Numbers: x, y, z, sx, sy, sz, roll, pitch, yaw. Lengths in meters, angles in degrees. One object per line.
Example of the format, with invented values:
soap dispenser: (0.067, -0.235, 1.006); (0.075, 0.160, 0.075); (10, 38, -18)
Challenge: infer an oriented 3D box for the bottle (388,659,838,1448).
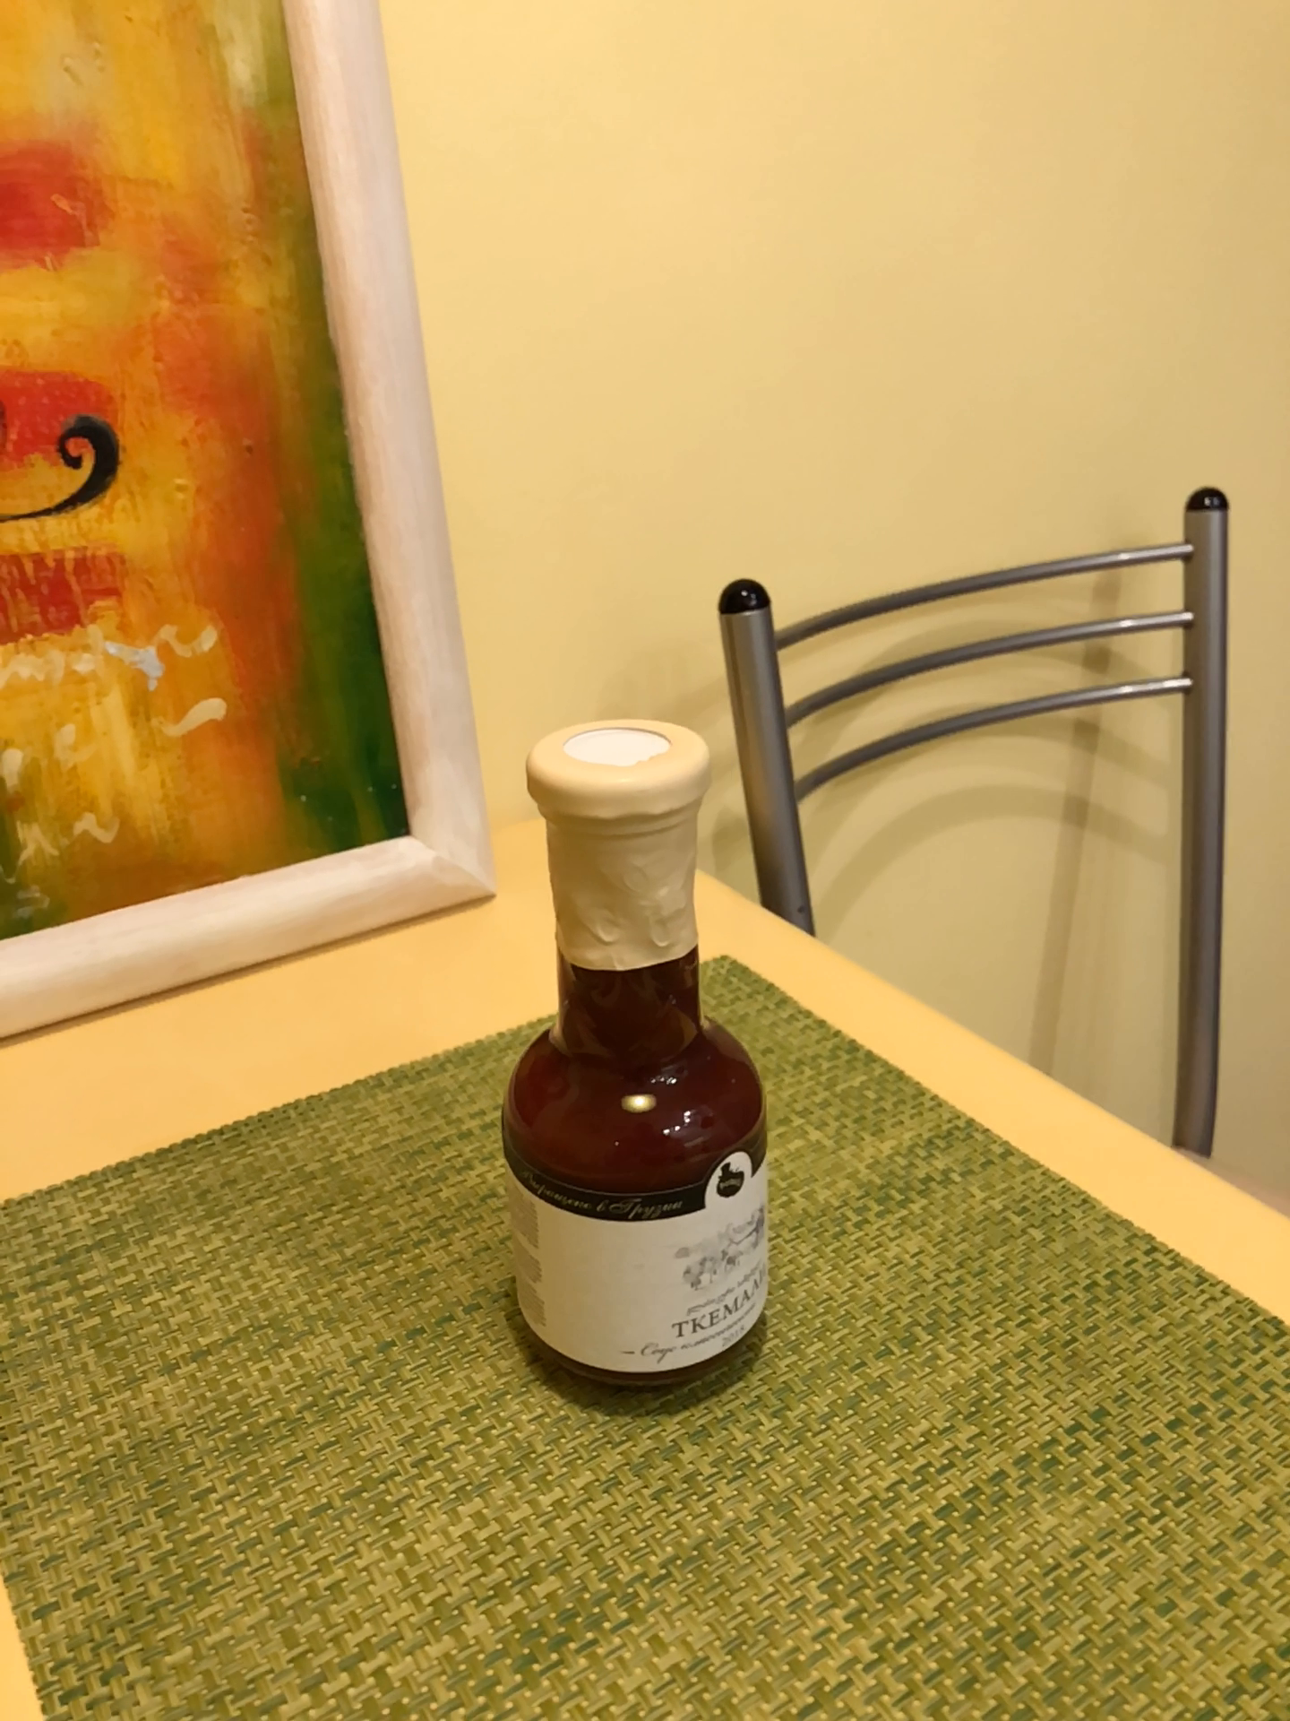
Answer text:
bottle: (-0.006, 0.042, 0.344); (0.070, 0.159, 0.070); (-1, 23, 0)
